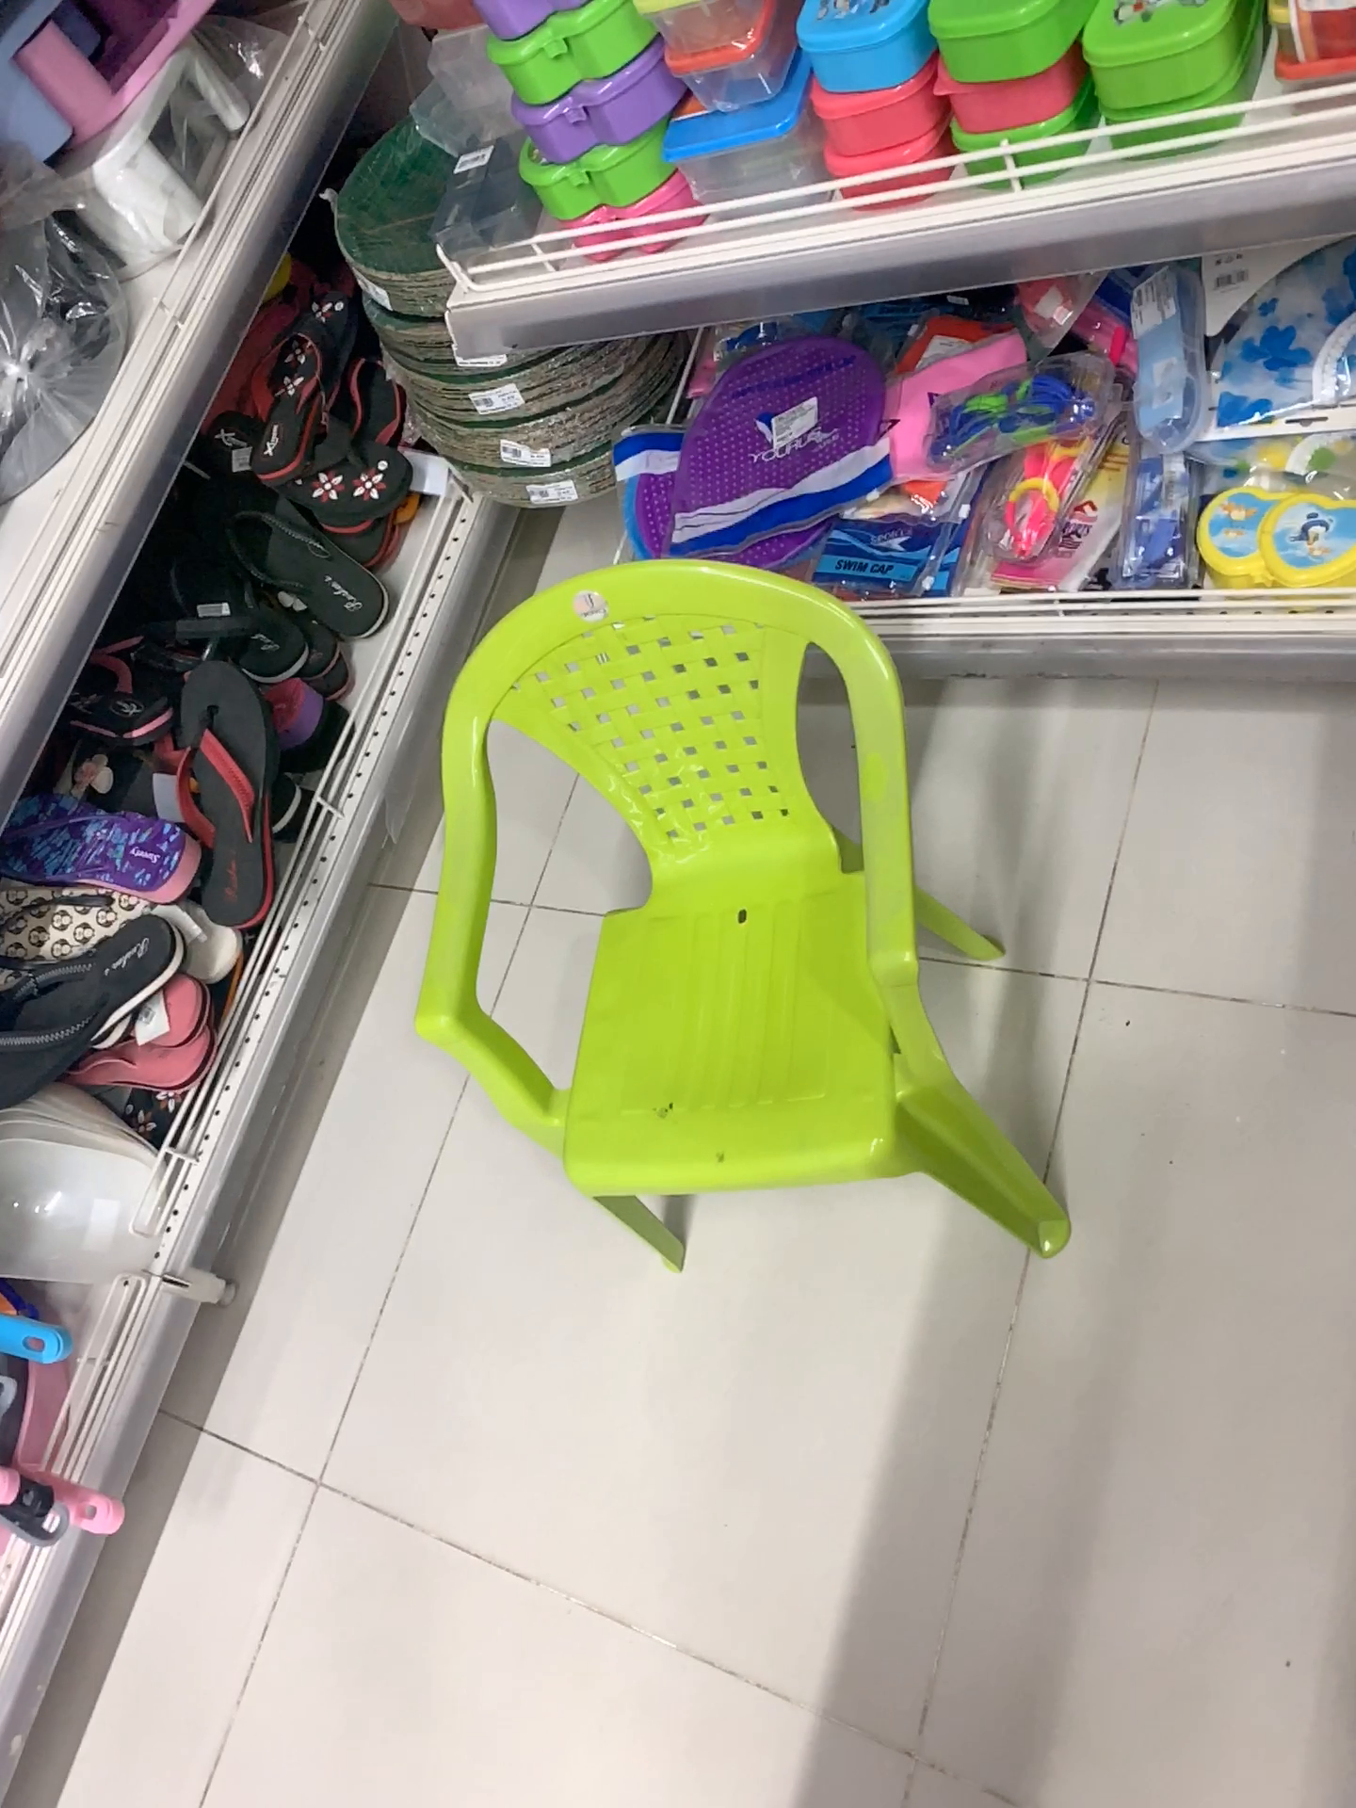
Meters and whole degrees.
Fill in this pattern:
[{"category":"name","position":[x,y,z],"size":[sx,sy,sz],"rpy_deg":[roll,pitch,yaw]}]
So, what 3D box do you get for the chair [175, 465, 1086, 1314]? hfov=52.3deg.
[{"category":"chair","position":[0.017,0.049,0.933],"size":[0.391,0.468,0.360],"rpy_deg":[-8,62,26]}]
